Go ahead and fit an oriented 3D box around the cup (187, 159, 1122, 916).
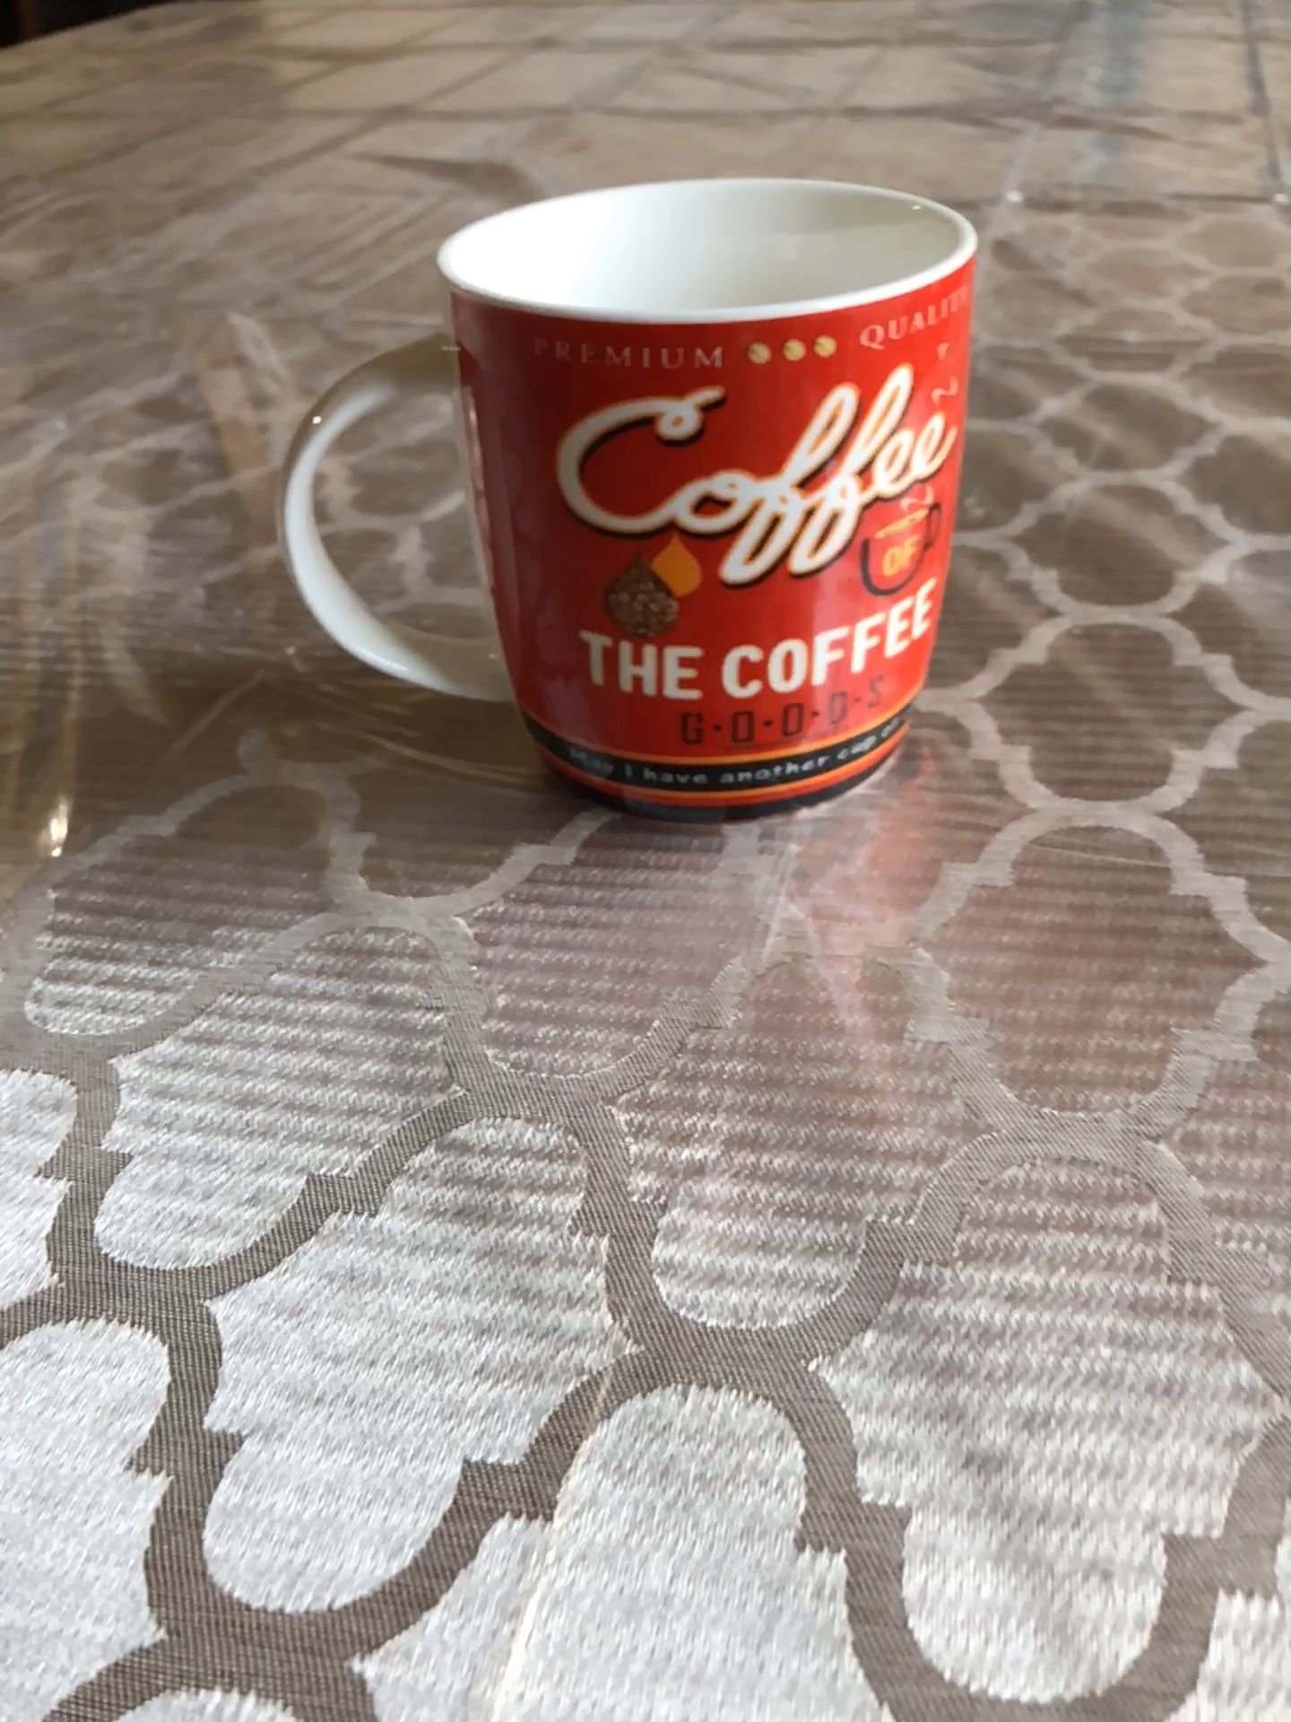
[{"bbox_3d":[-0.008,-0.069,0.266,0.130,0.080,0.121,-2,35,2],"label":"cup"}]
